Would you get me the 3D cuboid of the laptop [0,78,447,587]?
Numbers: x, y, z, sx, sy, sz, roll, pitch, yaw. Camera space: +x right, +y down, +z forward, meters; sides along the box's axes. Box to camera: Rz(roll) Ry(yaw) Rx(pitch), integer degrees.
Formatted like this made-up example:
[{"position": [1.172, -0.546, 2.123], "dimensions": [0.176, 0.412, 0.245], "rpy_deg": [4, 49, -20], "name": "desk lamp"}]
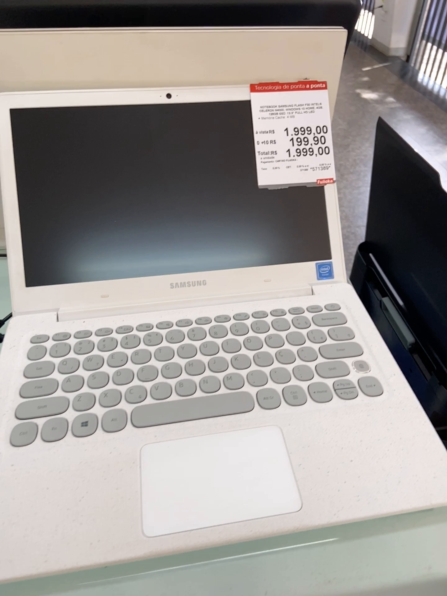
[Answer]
[{"position": [-0.025, -0.032, 0.359], "dimensions": [0.314, 0.140, 0.362], "rpy_deg": [-6, 43, -8], "name": "laptop"}]
